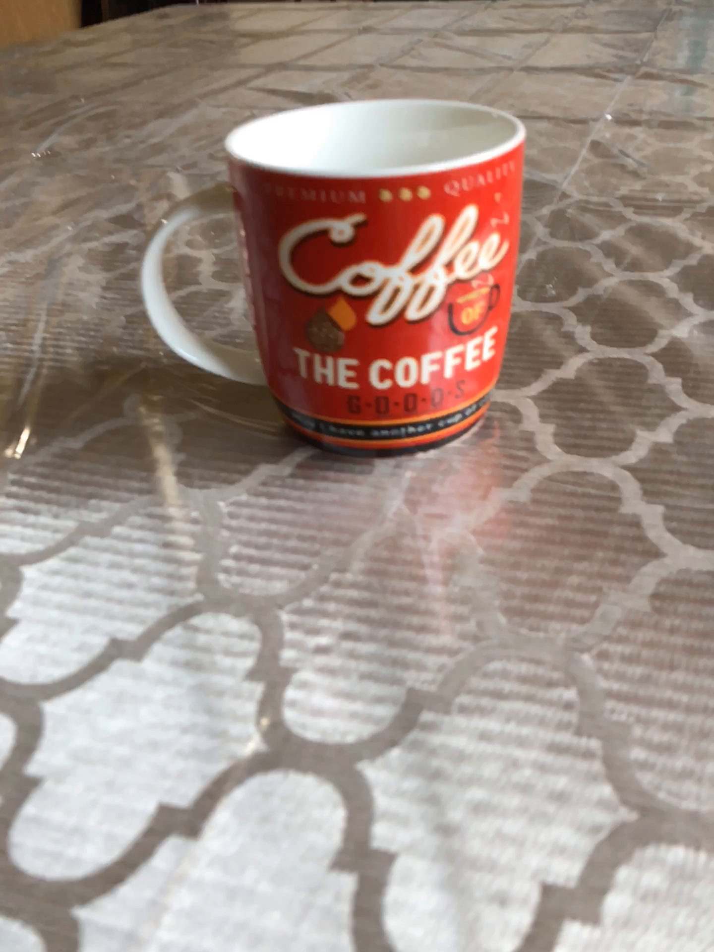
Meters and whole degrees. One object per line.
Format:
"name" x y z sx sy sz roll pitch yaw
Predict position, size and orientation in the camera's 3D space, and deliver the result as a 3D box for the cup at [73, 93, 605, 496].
"cup" -0.009 -0.069 0.262 0.130 0.080 0.121 -2 35 2
